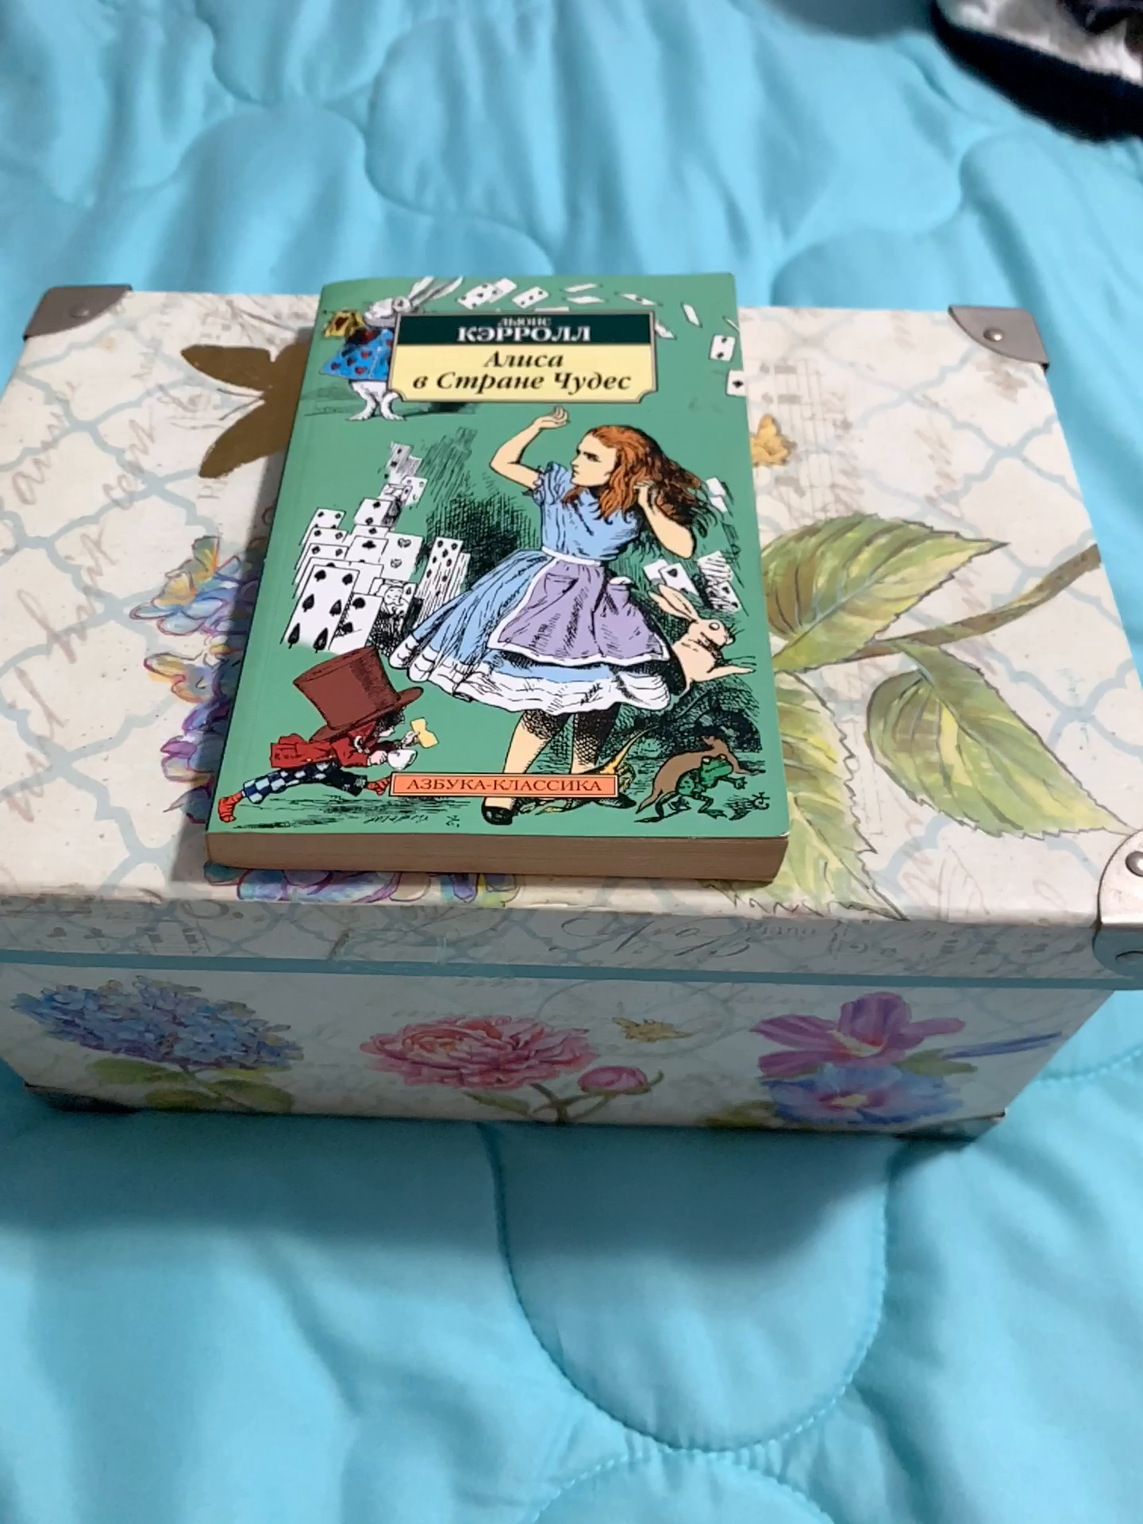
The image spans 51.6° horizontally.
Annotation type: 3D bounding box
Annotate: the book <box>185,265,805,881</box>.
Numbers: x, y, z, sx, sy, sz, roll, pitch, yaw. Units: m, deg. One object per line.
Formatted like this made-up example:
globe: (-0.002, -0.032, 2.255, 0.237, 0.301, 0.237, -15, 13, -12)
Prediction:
book: (-0.015, -0.056, 0.283, 0.118, 0.018, 0.180, 1, 56, -1)
